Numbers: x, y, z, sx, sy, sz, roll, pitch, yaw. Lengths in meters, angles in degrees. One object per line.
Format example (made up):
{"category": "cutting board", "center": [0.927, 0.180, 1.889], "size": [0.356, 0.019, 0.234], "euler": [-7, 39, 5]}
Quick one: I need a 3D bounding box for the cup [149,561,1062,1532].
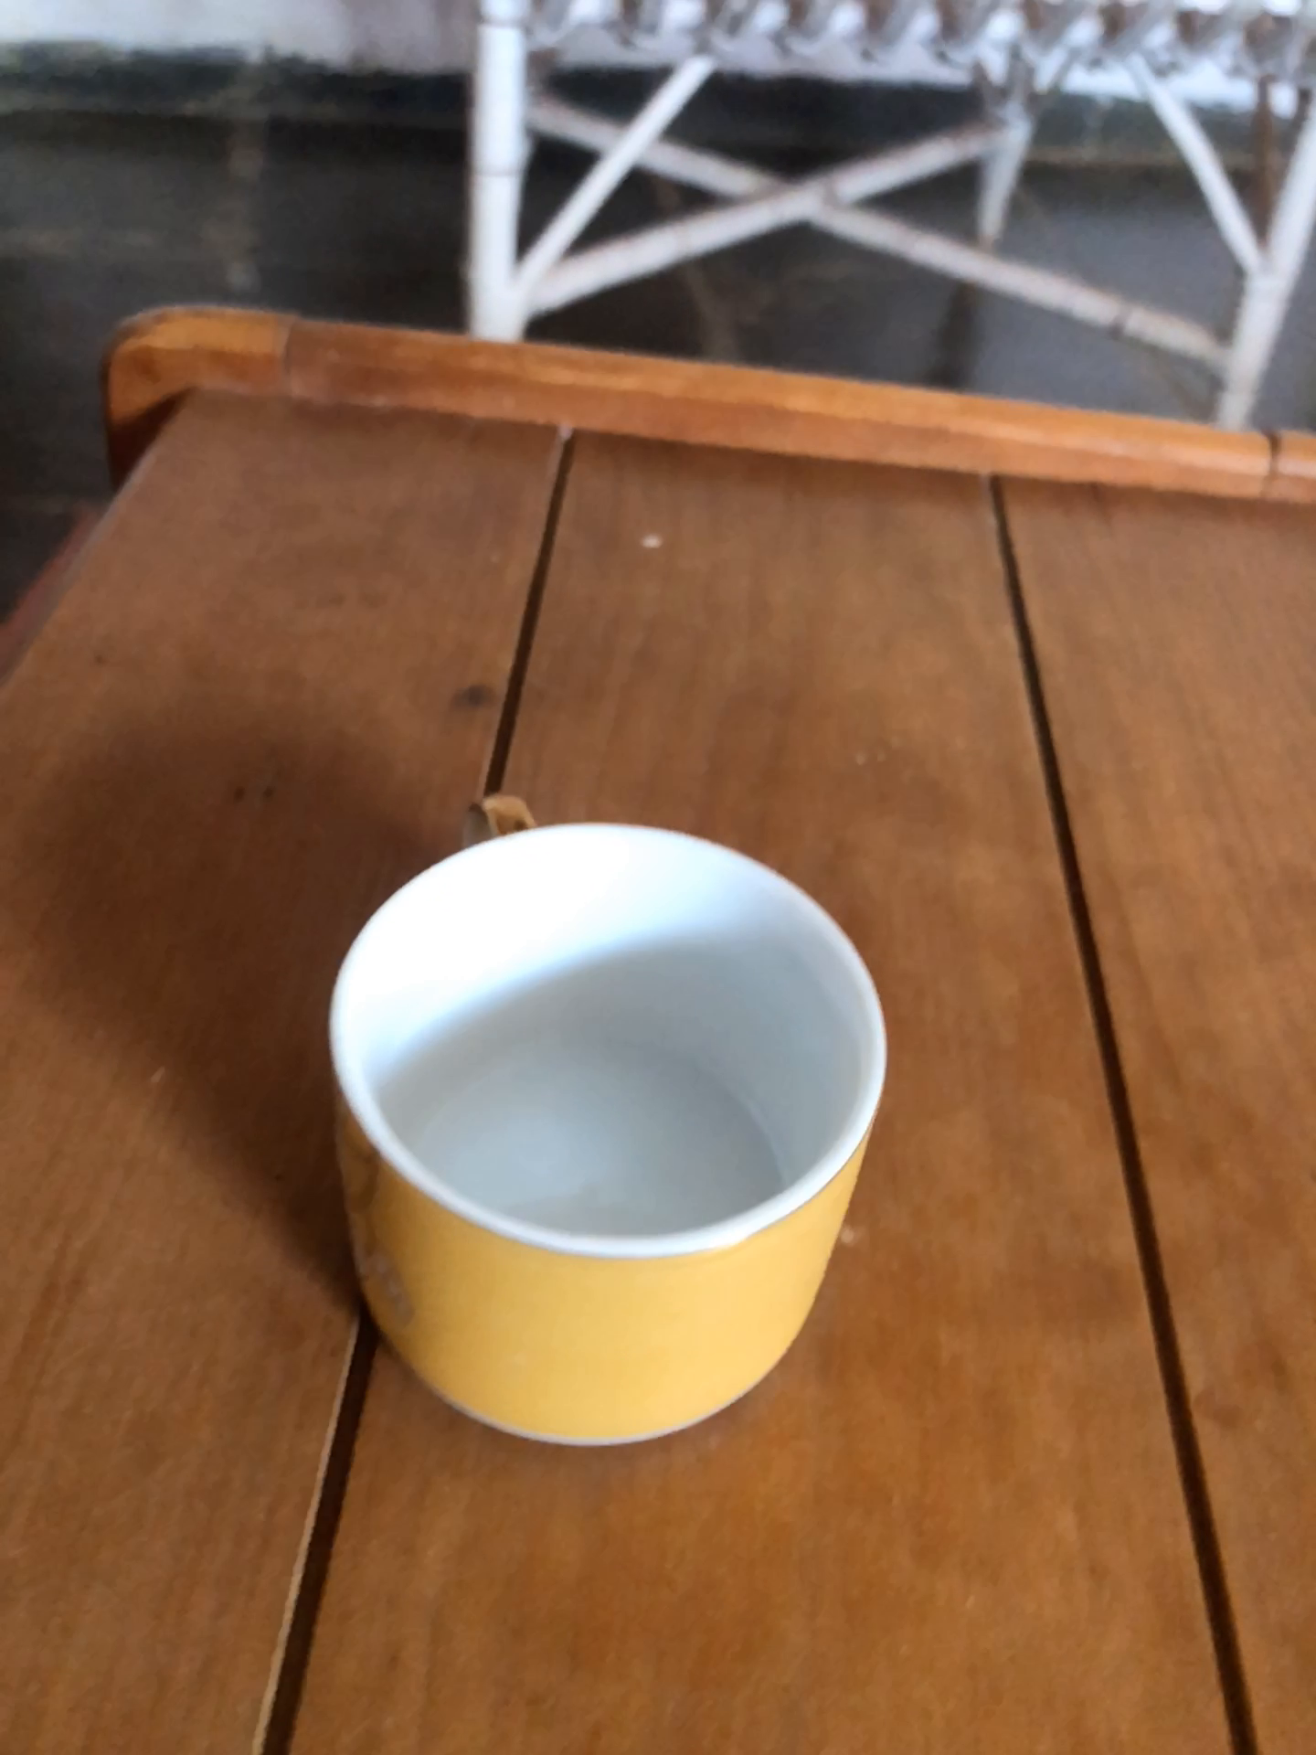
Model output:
{"category": "cup", "center": [-0.013, 0.013, 0.180], "size": [0.070, 0.050, 0.090], "euler": [-15, 48, -21]}
